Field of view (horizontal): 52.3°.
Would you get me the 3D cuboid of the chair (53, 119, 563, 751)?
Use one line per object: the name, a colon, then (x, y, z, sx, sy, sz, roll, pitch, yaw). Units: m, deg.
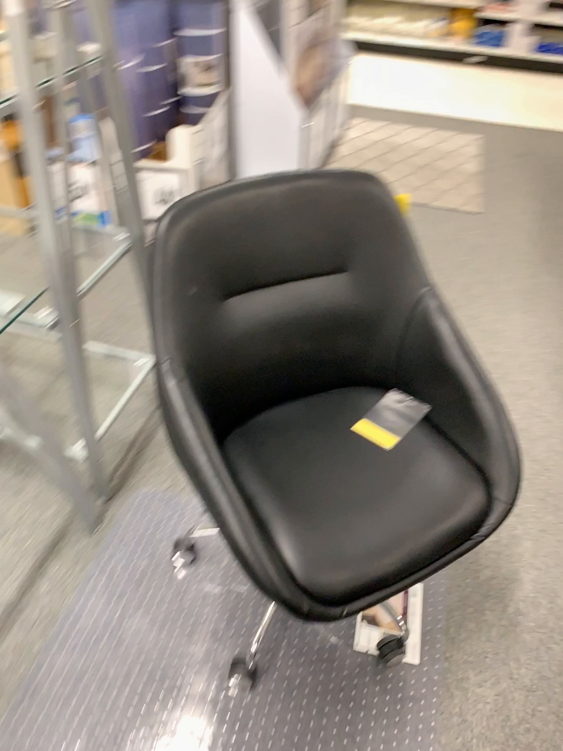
chair: (0.090, 0.122, 1.075, 0.671, 0.885, 0.622, -20, 47, -24)
